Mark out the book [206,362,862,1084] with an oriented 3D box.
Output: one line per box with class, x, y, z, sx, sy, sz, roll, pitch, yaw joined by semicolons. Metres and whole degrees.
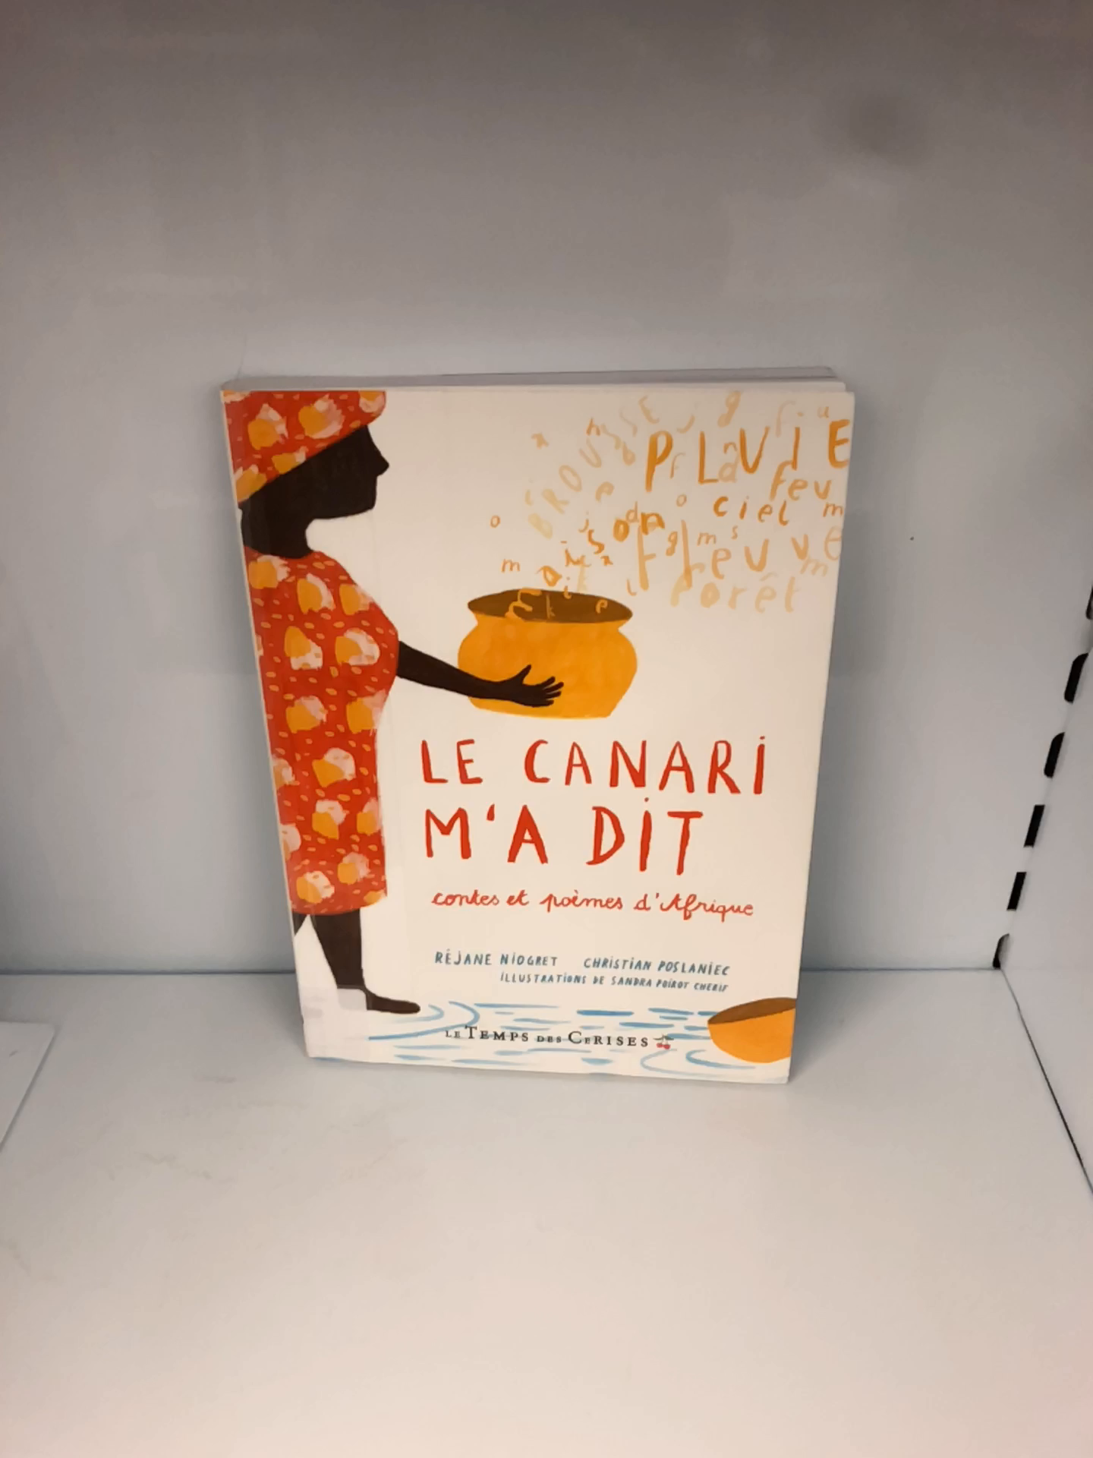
book;-0.003;0.005;0.334;0.149;0.199;0.037;2;26;3
